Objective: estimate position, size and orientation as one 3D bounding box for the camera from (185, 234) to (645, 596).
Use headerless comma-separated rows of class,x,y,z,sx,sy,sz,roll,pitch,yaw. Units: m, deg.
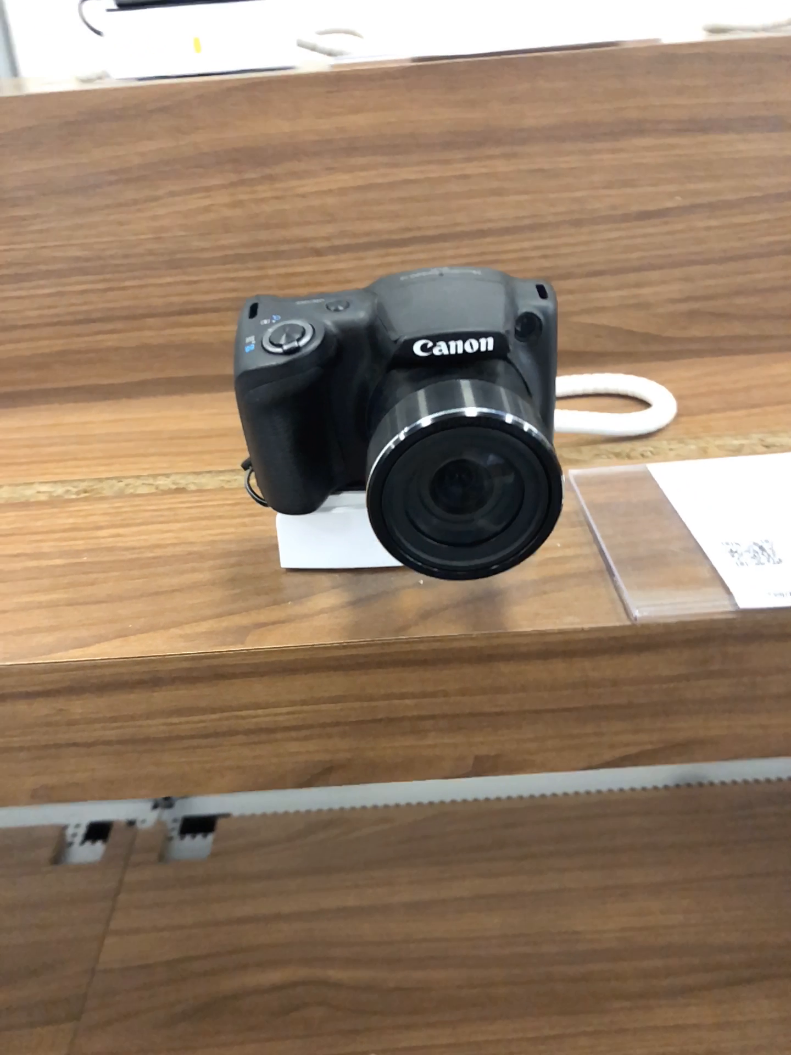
camera,0.004,-0.042,0.275,0.110,0.070,0.110,-5,27,-1
